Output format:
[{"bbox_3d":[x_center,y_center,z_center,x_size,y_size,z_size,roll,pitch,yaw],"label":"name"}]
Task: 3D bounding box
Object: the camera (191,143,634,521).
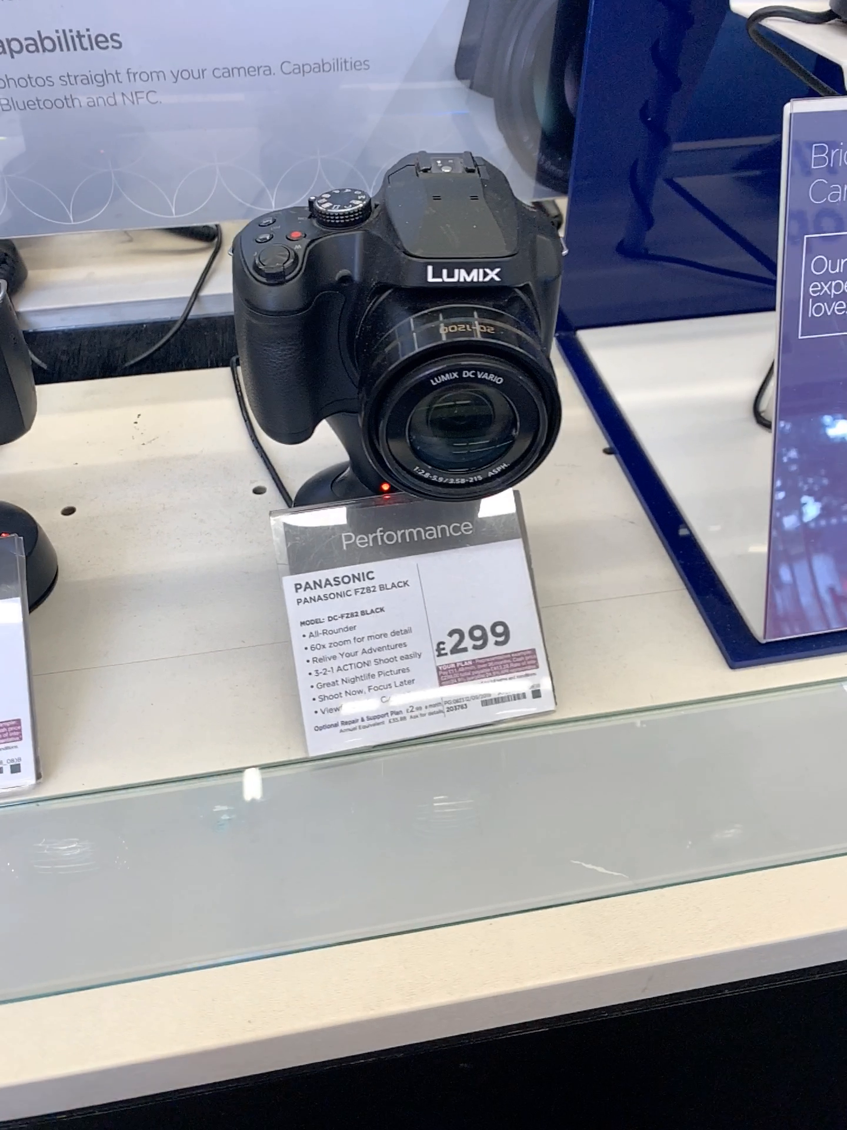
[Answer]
[{"bbox_3d":[-0.009,-0.091,0.325,0.130,0.079,0.121,-5,45,-5],"label":"camera"}]
